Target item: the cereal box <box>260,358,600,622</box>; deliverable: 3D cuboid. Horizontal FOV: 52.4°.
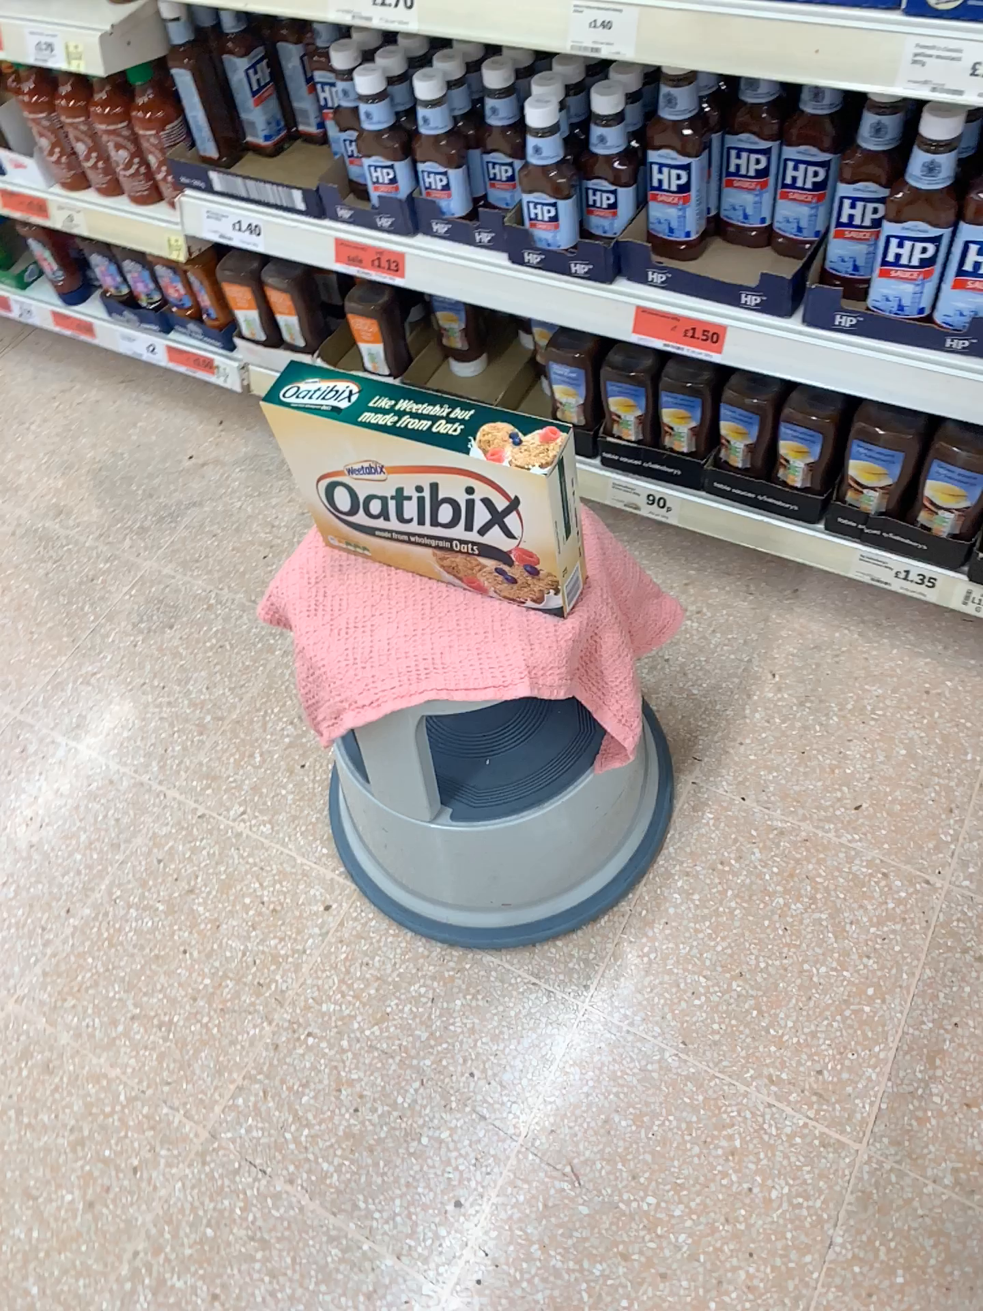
[{"bbox_3d":[-0.047,-0.144,0.884,0.271,0.189,0.060,18,63,21],"label":"cereal box"}]
